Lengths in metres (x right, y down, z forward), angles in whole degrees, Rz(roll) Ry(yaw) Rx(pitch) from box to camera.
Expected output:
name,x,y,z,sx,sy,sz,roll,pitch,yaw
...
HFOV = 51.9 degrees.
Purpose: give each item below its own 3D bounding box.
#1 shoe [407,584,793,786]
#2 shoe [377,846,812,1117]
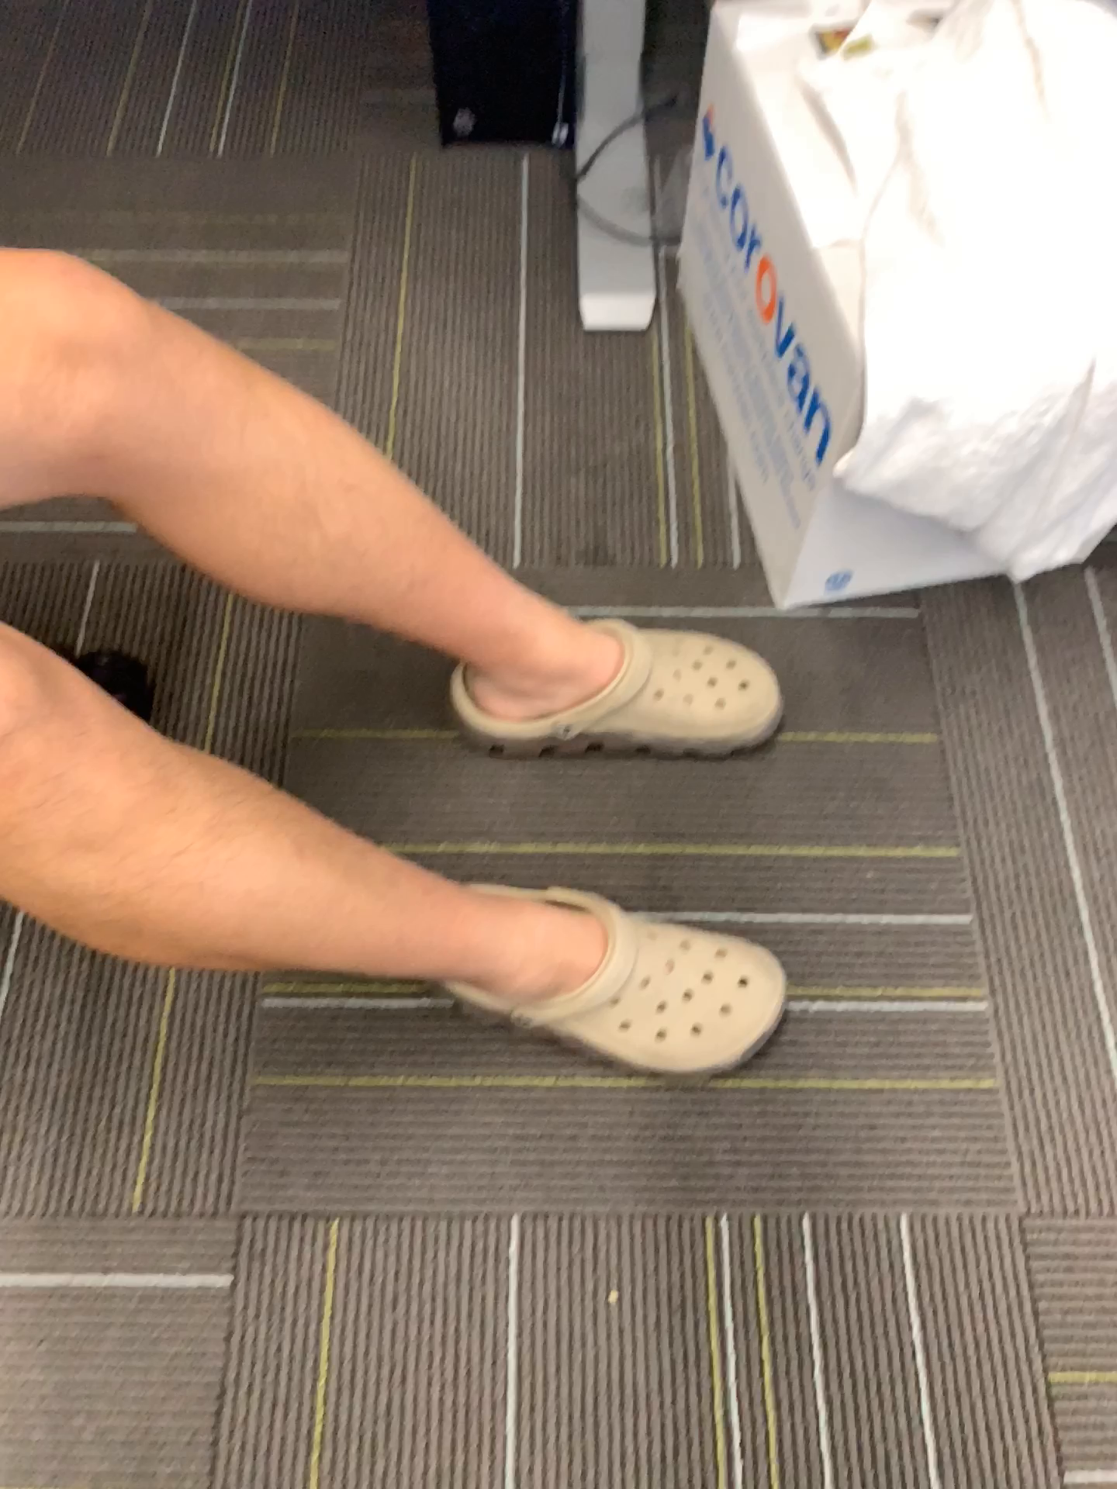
name,x,y,z,sx,sy,sz,roll,pitch,yaw
shoe,0.040,-0.054,1.045,0.330,0.080,0.140,4,64,2
shoe,0.031,0.193,0.938,0.321,0.080,0.134,12,65,6
